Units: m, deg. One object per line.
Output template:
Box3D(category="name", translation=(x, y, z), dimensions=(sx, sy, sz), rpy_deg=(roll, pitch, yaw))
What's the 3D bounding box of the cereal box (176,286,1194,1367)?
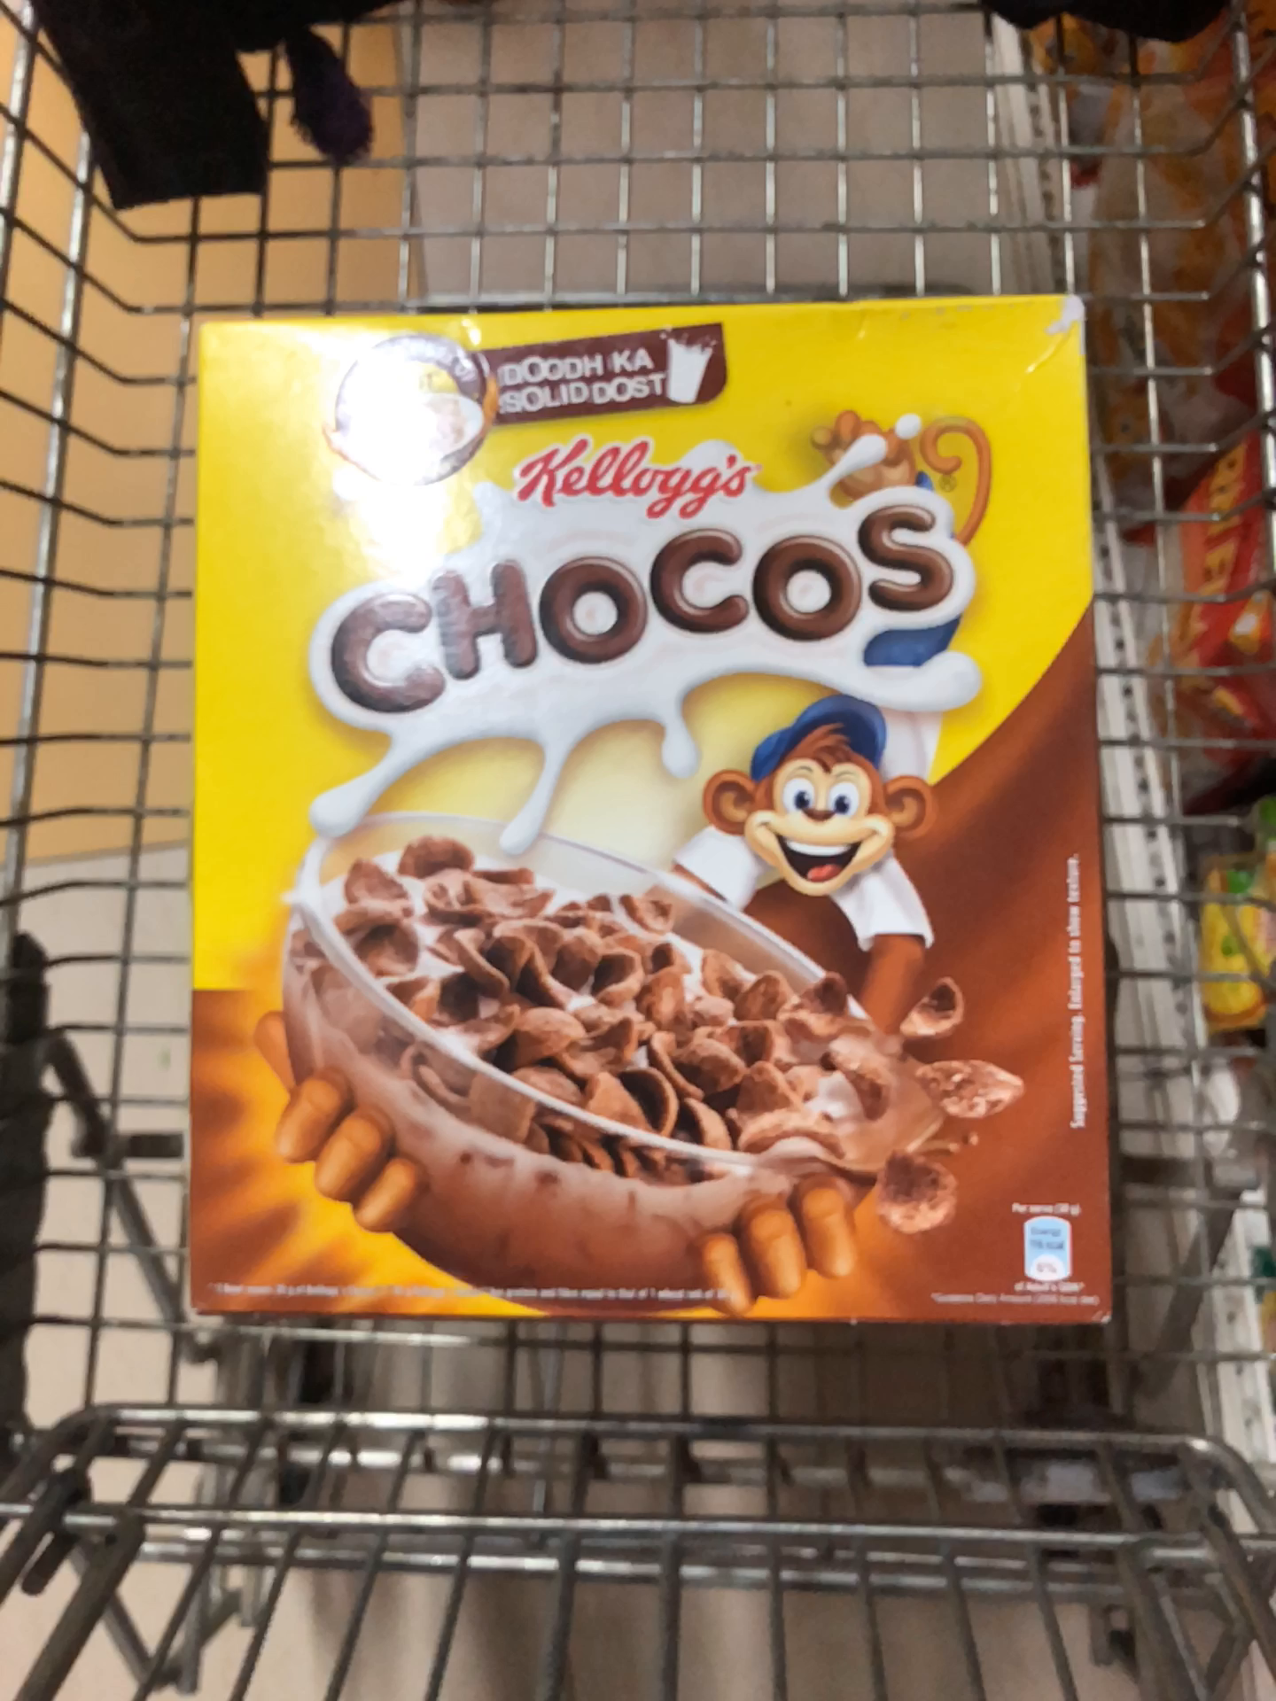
Box3D(category="cereal box", translation=(0.008, -0.004, 0.292), dimensions=(0.180, 0.070, 0.190), rpy_deg=(-1, 88, 4))
